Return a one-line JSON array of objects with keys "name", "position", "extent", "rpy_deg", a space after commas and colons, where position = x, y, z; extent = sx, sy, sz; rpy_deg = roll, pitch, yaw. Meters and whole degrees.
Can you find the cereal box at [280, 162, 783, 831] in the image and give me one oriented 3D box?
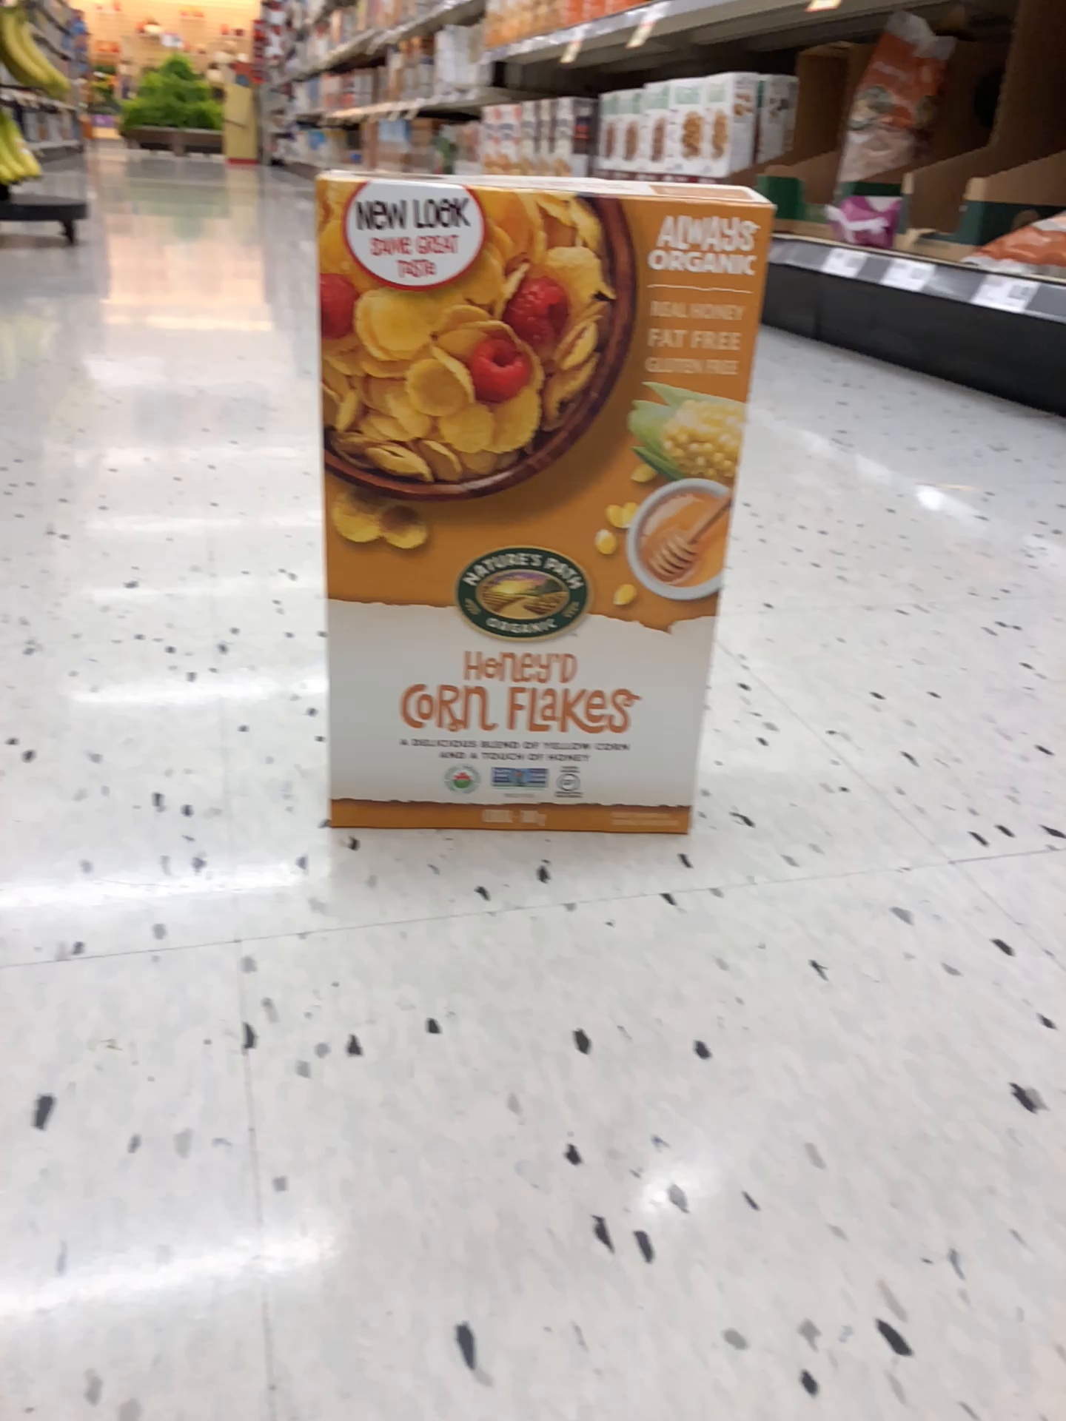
[{"name": "cereal box", "position": [-0.007, -0.074, 0.451], "extent": [0.160, 0.239, 0.060], "rpy_deg": [2, 26, -4]}]
